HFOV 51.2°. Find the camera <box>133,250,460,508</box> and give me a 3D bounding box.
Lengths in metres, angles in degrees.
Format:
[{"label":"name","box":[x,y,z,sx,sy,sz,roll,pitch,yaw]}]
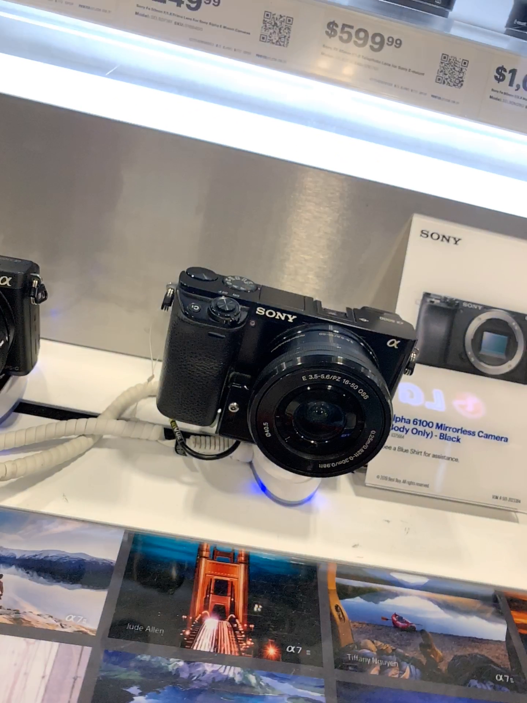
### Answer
[{"label":"camera","box":[0.011,0.011,0.257,0.120,0.074,0.066,13,26,-4]}]
